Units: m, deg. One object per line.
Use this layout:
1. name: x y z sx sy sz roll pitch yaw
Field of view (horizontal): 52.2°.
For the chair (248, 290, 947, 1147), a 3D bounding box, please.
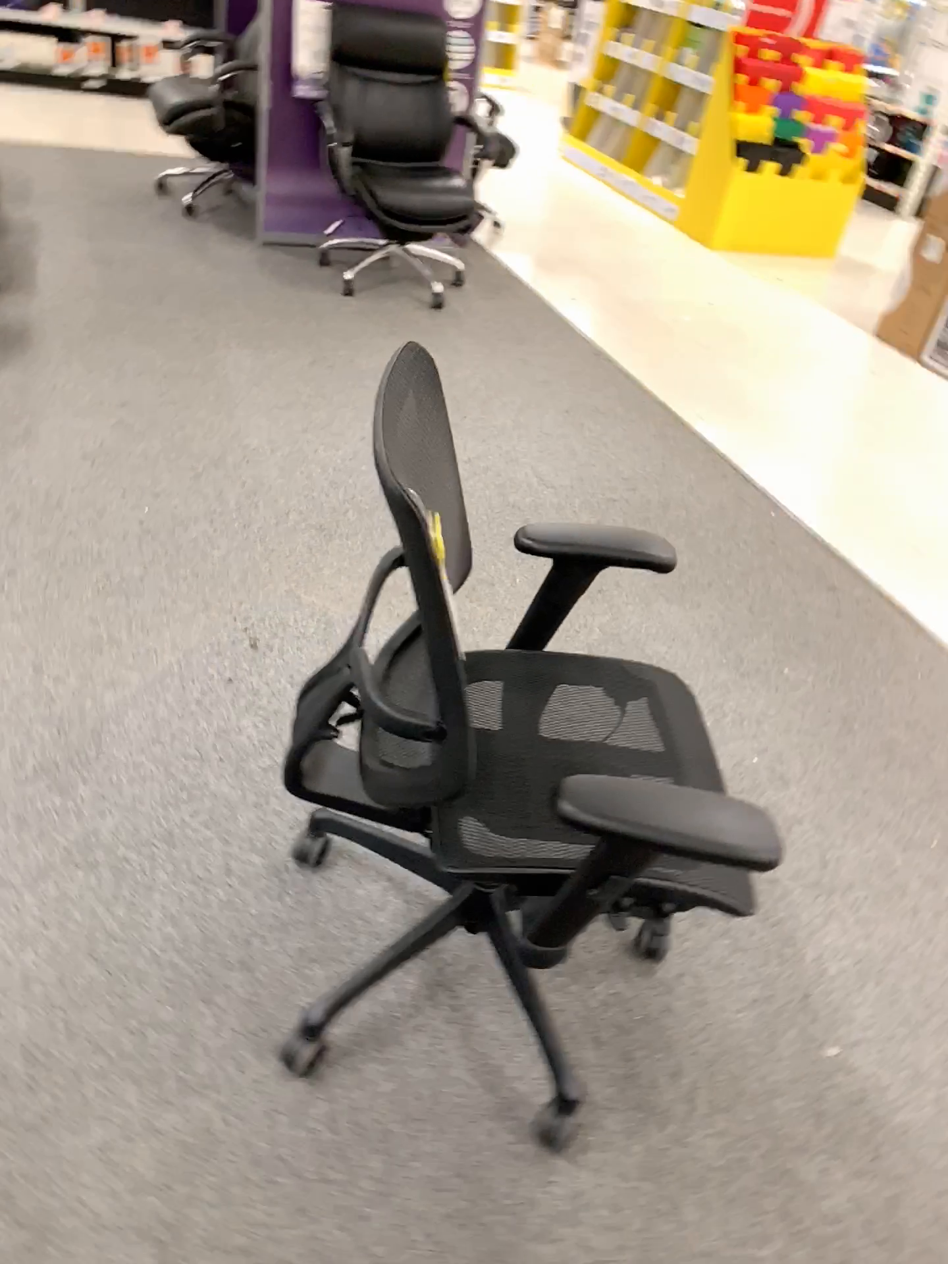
1. chair: 0.107 0.102 1.336 0.760 0.806 0.764 3 37 -12
